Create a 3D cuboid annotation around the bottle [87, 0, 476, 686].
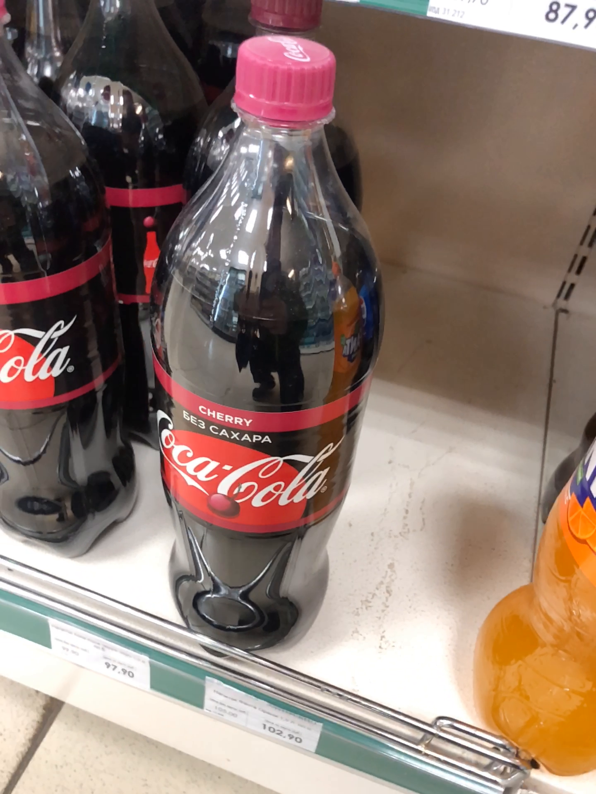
[{"bbox_3d":[-0.013,0.008,0.294,0.092,0.295,0.088,4,43,-4],"label":"bottle"}]
